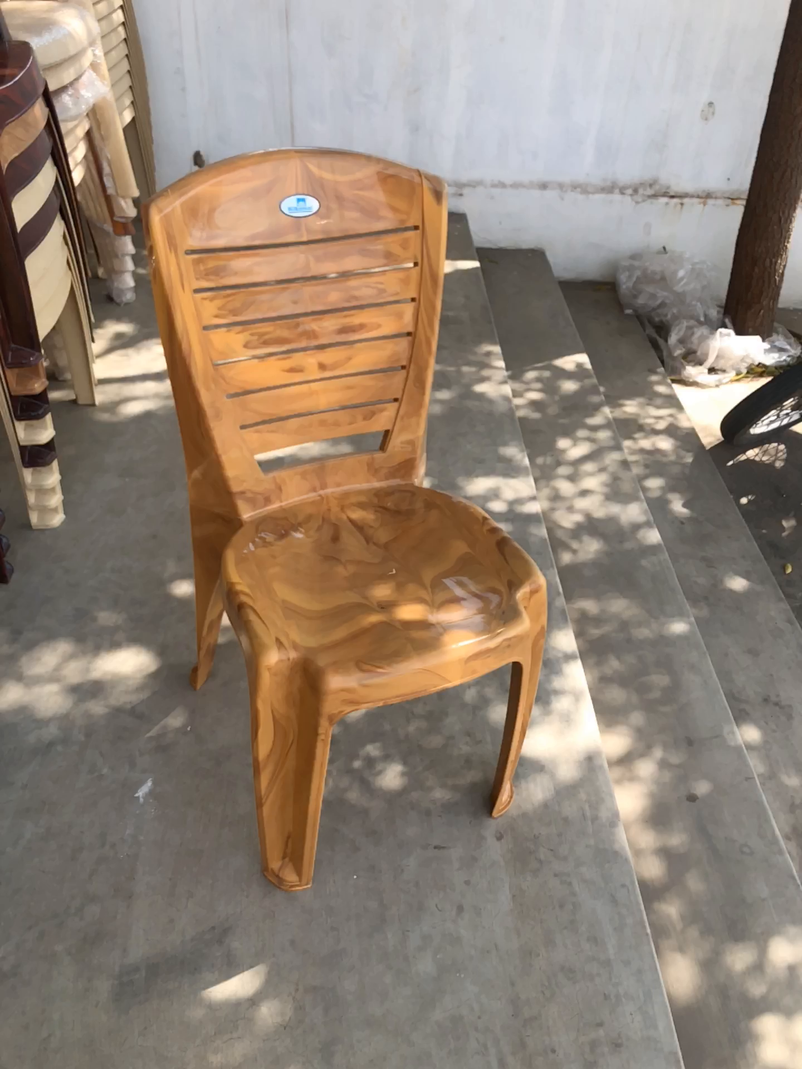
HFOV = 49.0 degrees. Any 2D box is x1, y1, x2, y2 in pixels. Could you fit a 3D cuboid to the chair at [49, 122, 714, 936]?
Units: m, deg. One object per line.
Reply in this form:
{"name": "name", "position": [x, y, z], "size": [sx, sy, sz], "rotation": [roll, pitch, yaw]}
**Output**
{"name": "chair", "position": [-0.075, -0.017, 1.173], "size": [0.501, 0.816, 0.561], "rotation": [-15, 43, -21]}
